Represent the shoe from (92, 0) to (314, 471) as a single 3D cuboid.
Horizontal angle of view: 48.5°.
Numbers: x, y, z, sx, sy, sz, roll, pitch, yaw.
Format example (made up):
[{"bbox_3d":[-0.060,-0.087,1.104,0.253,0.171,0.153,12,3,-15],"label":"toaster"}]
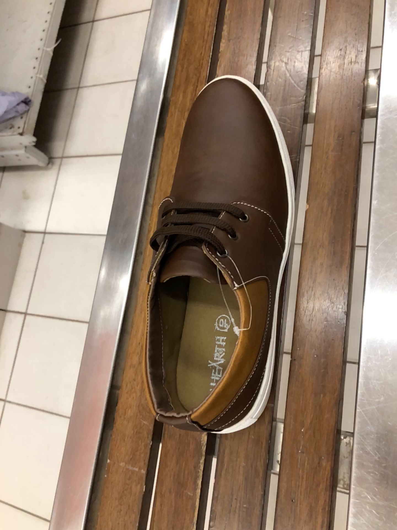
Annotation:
[{"bbox_3d":[0.019,-0.029,0.340,0.109,0.115,0.312,-1,76,25],"label":"shoe"}]
